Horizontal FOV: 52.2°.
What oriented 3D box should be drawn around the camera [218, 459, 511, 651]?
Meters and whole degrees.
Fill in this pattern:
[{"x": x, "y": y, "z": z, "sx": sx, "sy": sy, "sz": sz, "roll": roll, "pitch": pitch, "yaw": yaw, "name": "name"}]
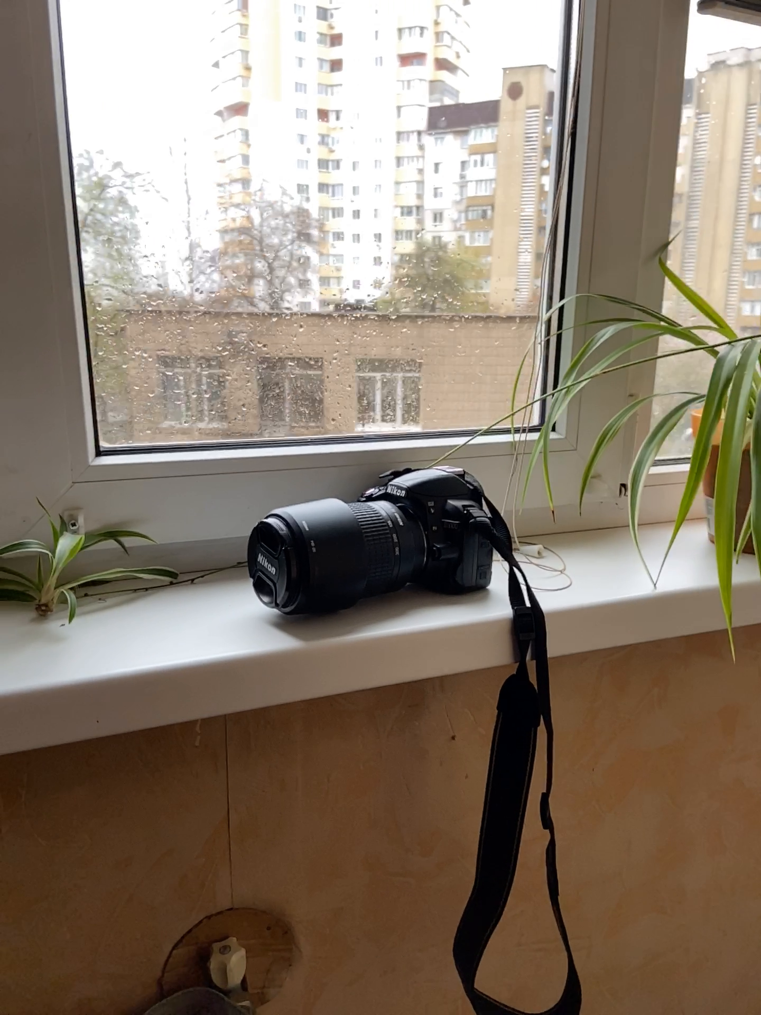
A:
[{"x": -0.012, "y": 0.026, "z": 0.613, "sx": 0.190, "sy": 0.089, "sz": 0.125, "roll": -10, "pitch": 18, "yaw": -36, "name": "camera"}]
